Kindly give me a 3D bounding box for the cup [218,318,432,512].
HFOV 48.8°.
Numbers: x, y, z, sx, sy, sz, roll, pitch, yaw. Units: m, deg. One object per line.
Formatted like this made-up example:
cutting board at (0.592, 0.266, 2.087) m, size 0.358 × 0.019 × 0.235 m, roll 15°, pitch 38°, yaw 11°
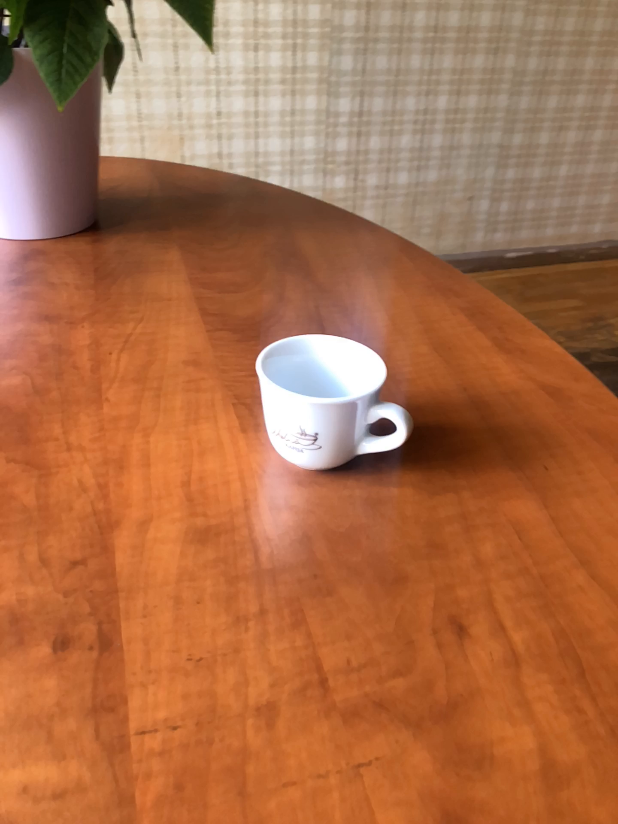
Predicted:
cup at (0.008, -0.002, 0.336) m, size 0.083 × 0.050 × 0.065 m, roll 17°, pitch 36°, yaw 18°
